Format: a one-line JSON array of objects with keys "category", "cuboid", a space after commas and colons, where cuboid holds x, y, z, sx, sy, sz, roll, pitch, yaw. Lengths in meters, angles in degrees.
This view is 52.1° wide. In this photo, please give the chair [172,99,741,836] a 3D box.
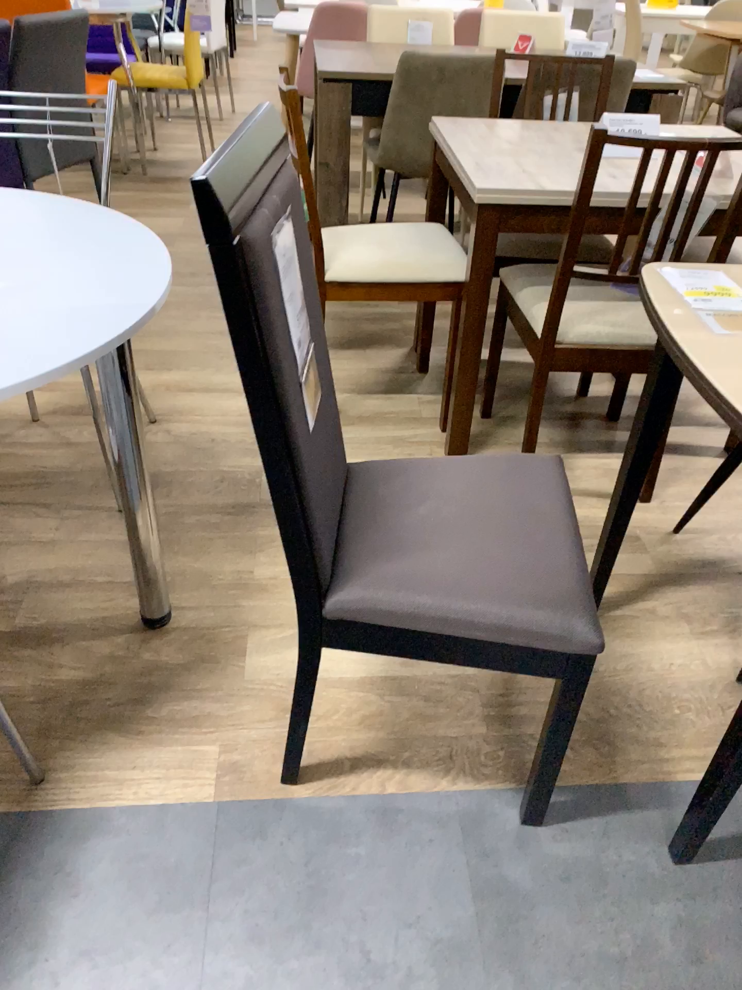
[{"category": "chair", "cuboid": [0.071, 0.014, 1.141, 0.500, 0.994, 0.443, 5, 37, 2]}]
